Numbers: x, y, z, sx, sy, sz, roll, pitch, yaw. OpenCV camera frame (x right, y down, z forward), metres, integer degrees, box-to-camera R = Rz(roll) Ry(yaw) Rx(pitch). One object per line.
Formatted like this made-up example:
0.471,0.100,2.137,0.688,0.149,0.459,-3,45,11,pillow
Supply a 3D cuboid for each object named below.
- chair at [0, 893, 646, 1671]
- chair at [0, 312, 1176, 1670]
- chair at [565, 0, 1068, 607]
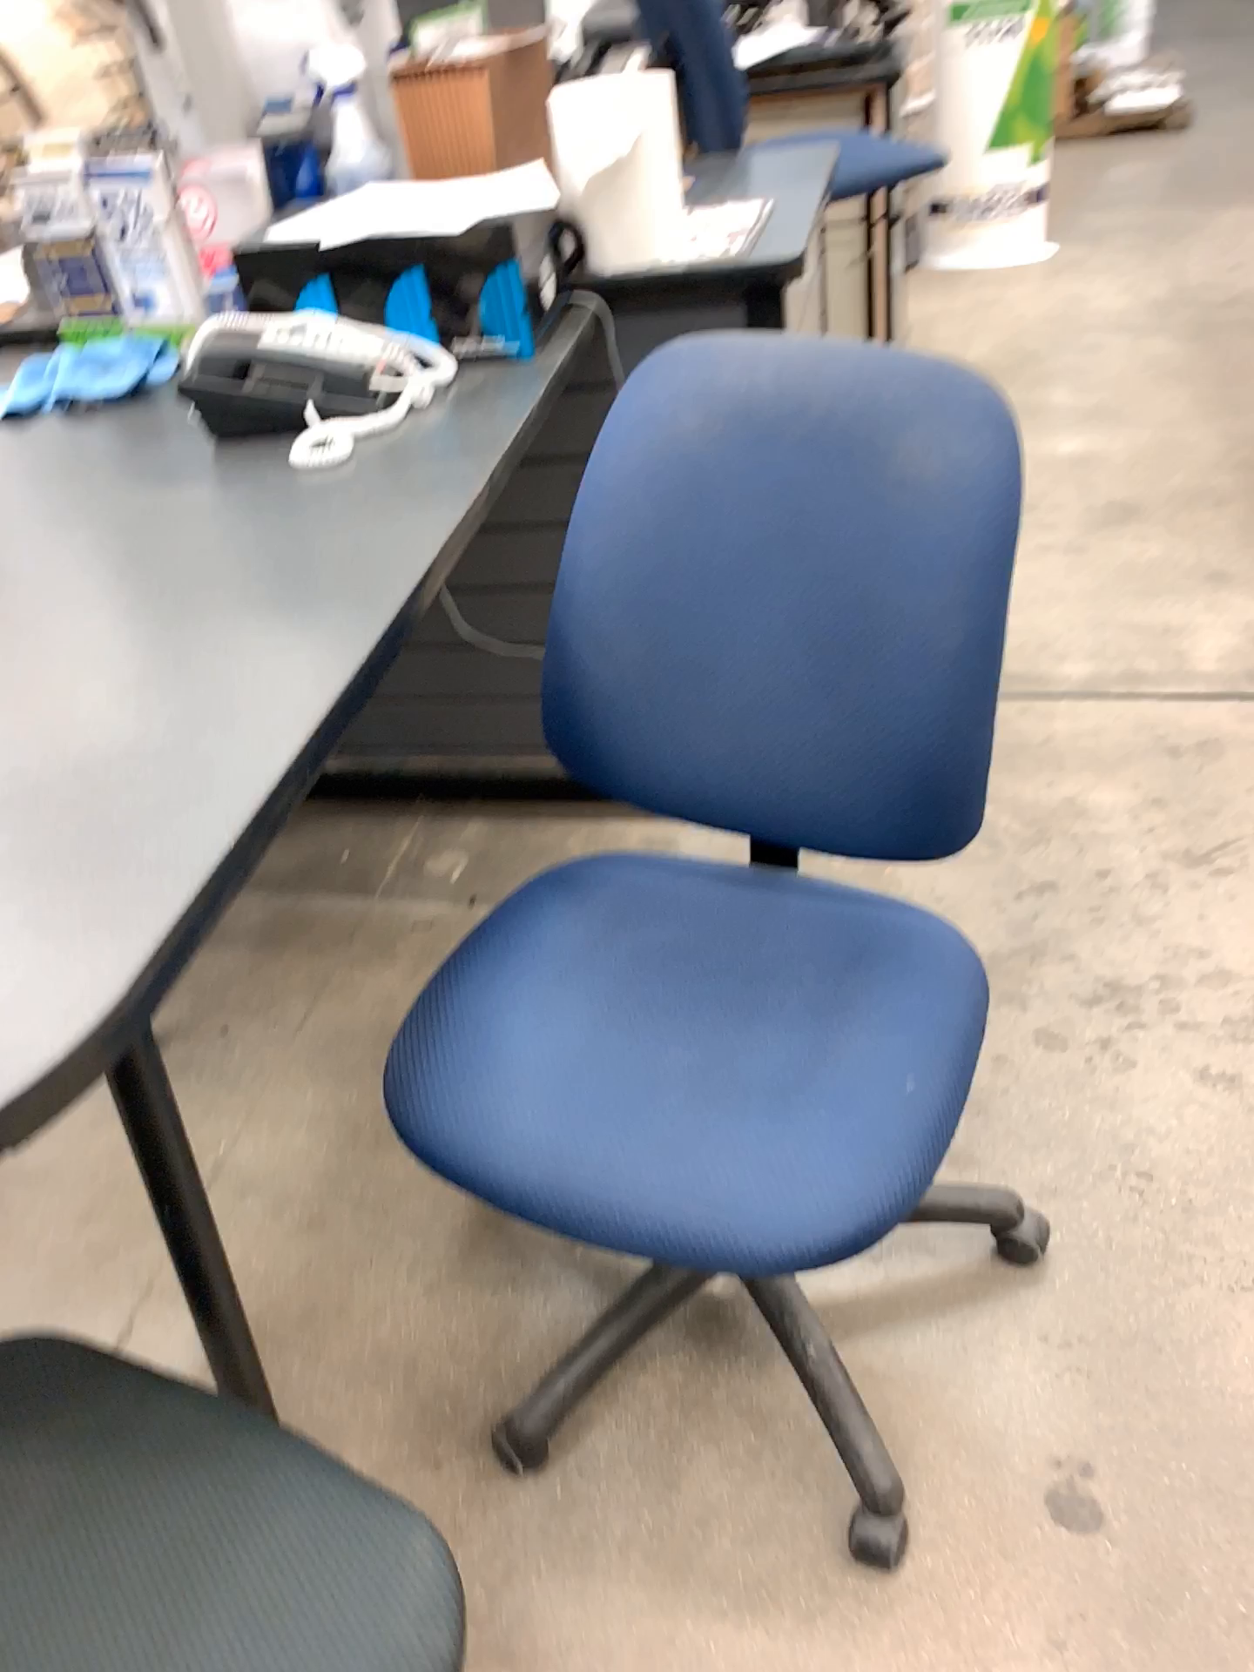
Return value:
-0.413,0.571,0.737,0.568,0.800,0.543,14,41,28,chair
0.044,0.085,1.168,0.698,0.889,0.664,9,39,23,chair
0.375,-1.302,2.786,0.701,1.228,0.851,-13,35,-6,chair
